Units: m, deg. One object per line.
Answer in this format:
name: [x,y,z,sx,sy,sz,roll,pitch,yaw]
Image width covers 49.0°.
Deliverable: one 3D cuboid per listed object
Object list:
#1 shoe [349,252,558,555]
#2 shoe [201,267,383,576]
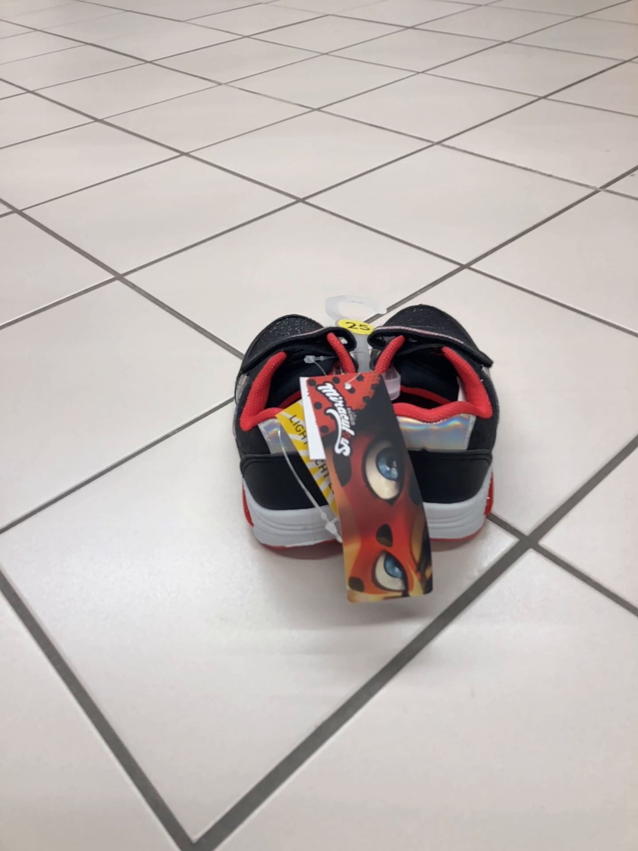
shoe: [0.061,-0.021,0.378,0.075,0.069,0.167,-4,40,0]
shoe: [-0.017,-0.012,0.383,0.077,0.071,0.168,-6,40,-2]
